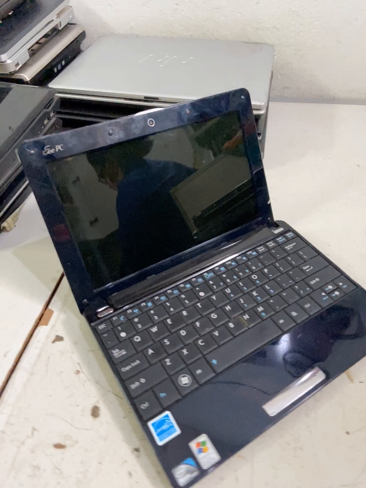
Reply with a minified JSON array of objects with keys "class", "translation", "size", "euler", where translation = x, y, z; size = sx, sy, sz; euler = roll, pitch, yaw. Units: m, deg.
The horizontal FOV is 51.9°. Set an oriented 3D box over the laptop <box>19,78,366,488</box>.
[{"class":"laptop","translation":[0.034,-0.009,0.352],"size":[0.260,0.133,0.274],"euler":[-23,50,-23]}]
